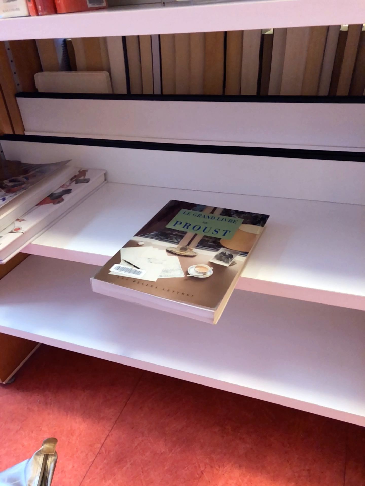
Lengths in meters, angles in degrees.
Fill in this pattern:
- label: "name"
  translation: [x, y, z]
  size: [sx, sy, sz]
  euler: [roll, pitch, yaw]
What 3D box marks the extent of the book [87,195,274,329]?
- label: "book"
  translation: [0.011, 0.008, 0.581]
  size: [0.180, 0.030, 0.246]
  euler: [11, 36, 24]
